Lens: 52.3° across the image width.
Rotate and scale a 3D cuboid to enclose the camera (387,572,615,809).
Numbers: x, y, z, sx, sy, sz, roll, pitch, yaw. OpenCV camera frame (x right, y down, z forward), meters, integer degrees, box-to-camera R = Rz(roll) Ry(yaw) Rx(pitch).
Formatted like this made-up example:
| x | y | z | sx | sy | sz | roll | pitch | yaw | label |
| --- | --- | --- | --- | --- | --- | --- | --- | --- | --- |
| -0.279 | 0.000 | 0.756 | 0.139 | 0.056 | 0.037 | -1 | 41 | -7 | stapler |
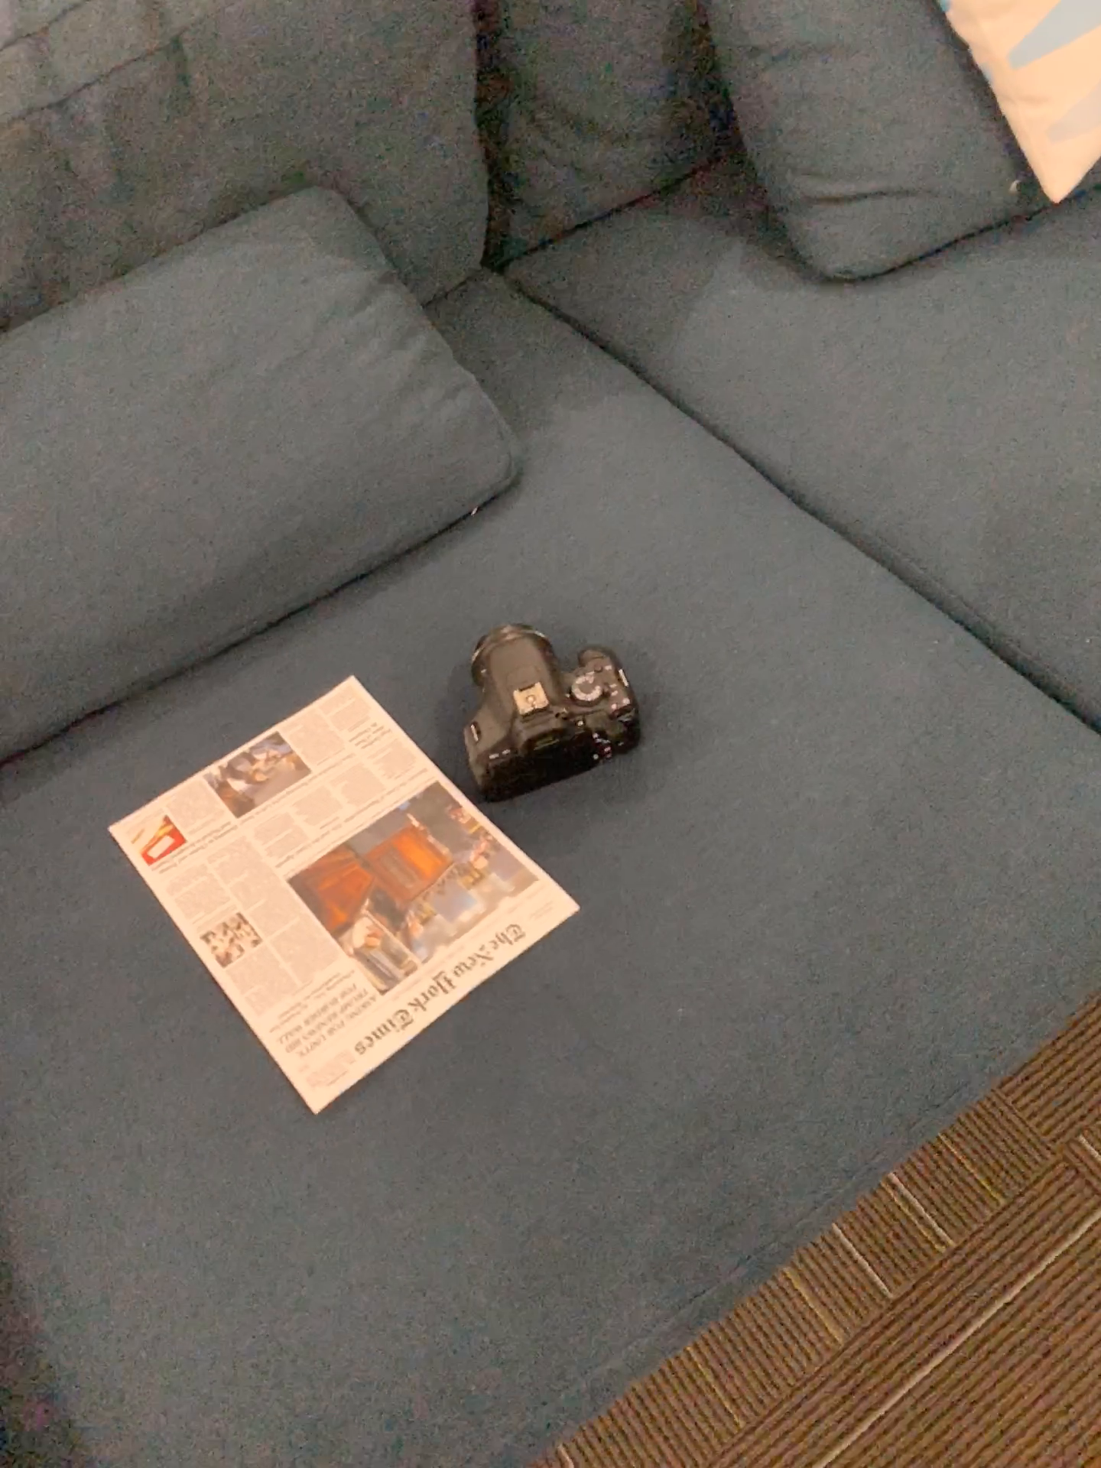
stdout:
| x | y | z | sx | sy | sz | roll | pitch | yaw | label |
| --- | --- | --- | --- | --- | --- | --- | --- | --- | --- |
| -0.038 | -0.035 | 0.895 | 0.140 | 0.100 | 0.110 | -21 | 56 | -6 | camera |
